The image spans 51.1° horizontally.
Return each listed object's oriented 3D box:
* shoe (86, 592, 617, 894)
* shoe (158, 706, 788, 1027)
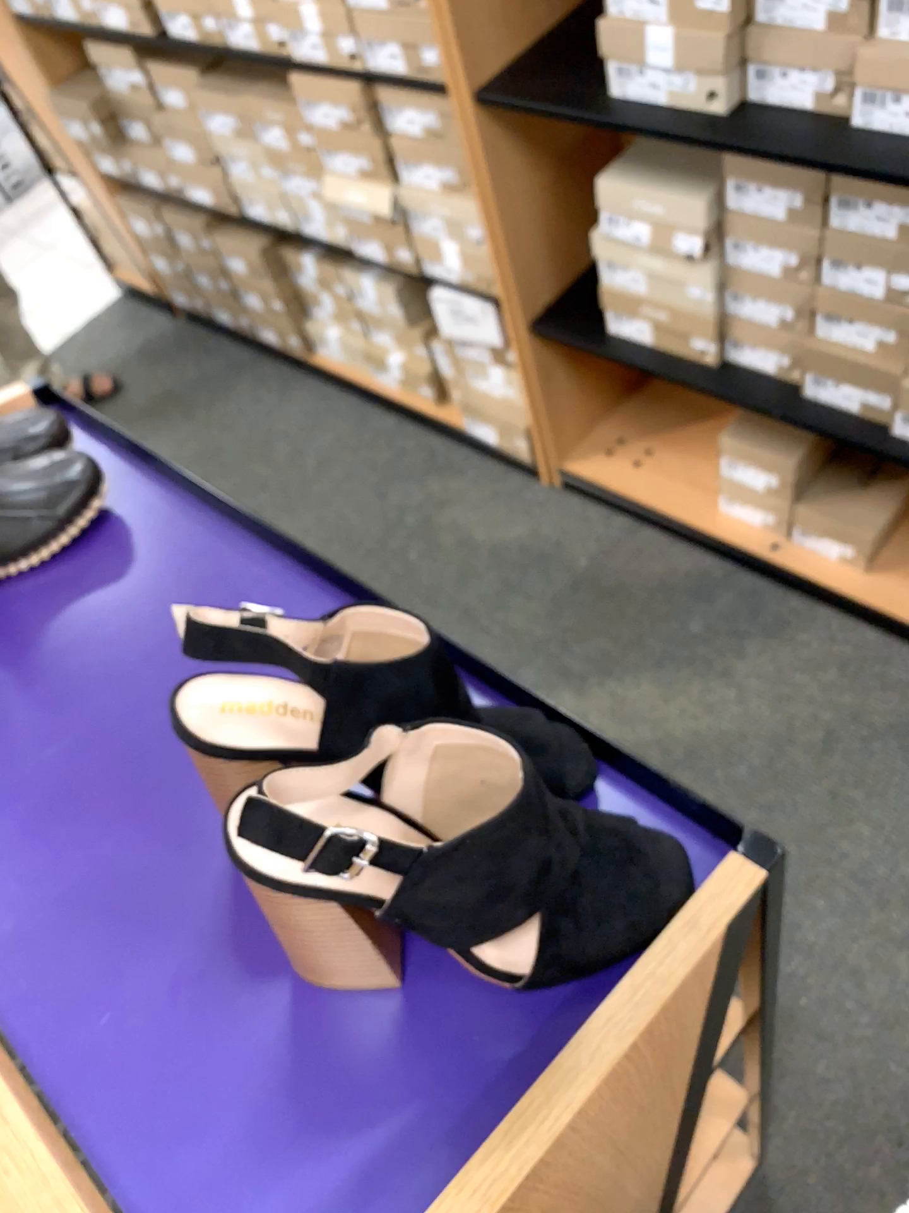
[{"bbox_3d":[-0.047,0.067,0.462,0.220,0.110,0.080,-5,52,-7],"label":"shoe"},{"bbox_3d":[-0.001,0.116,0.405,0.220,0.140,0.080,3,52,-9],"label":"shoe"}]
